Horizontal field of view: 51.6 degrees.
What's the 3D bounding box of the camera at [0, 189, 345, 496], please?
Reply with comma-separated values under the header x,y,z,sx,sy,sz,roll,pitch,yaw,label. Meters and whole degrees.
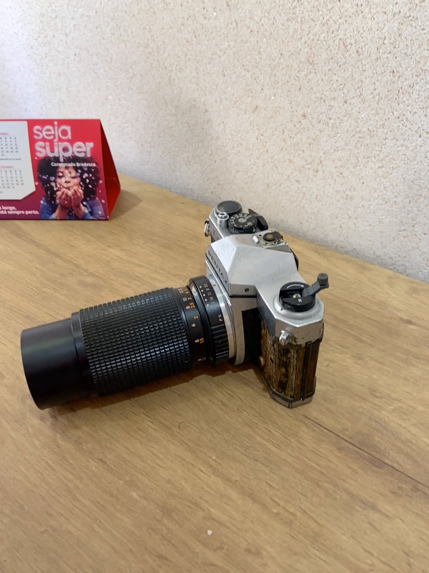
x,y,z,sx,sy,sz,roll,pitch,yaw,label
-0.038,0.018,0.297,0.180,0.079,0.151,-14,39,-15,camera
